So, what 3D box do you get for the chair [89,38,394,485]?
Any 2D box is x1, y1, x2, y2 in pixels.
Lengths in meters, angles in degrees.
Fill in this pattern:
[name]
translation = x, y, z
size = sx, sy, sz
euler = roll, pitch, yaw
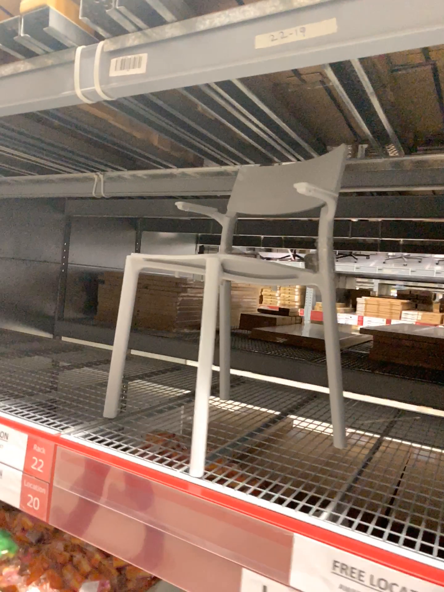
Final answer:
[chair]
translation = 0.049, -0.065, 1.185
size = 0.550, 0.820, 0.480
euler = 4, 1, -41
